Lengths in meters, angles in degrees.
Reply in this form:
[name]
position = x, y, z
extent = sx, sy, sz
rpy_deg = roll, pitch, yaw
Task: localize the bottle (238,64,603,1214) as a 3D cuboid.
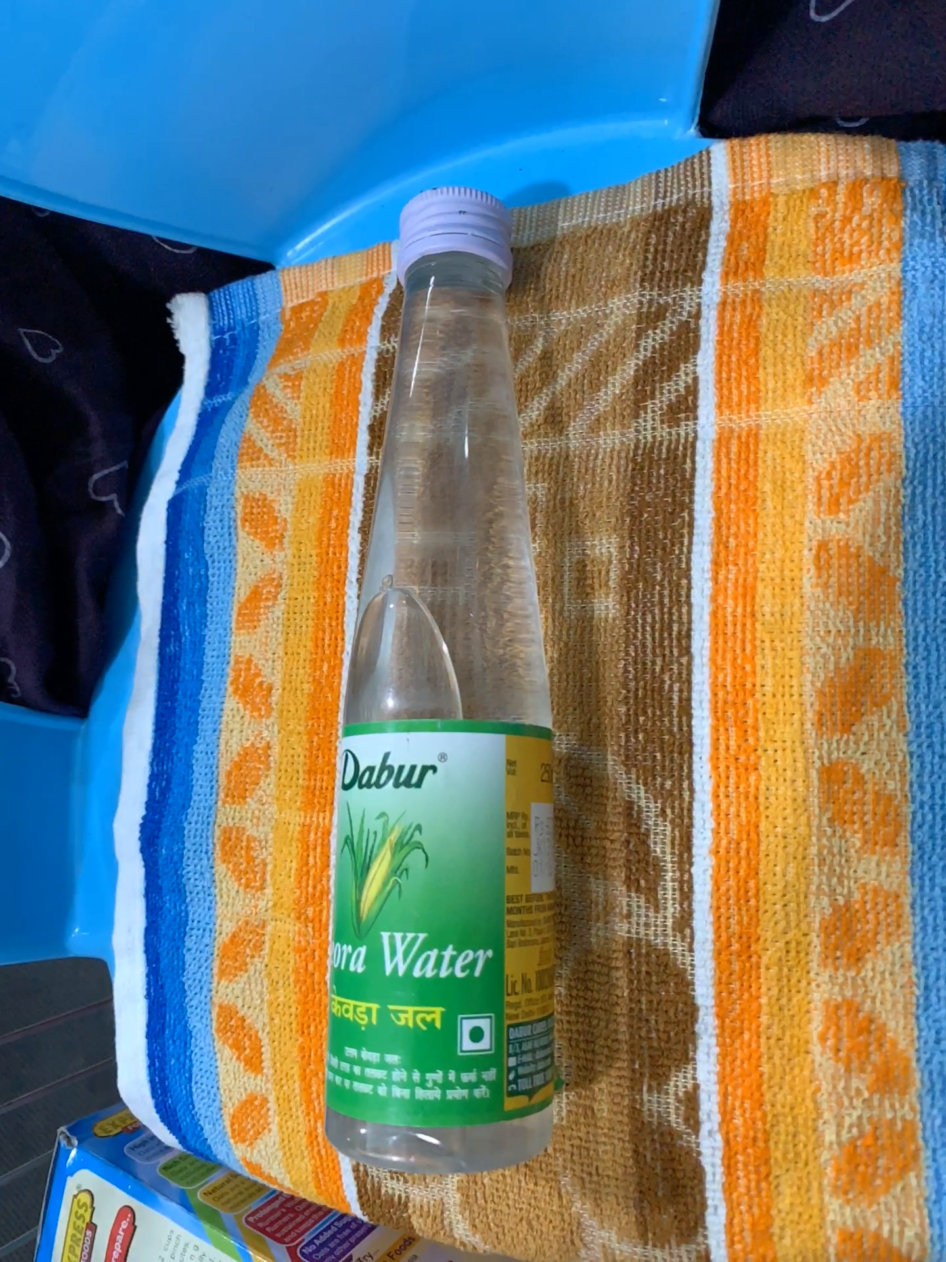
[bottle]
position = -0.012, -0.001, 0.203
extent = 0.050, 0.050, 0.200
rpy_deg = -6, 82, 30
